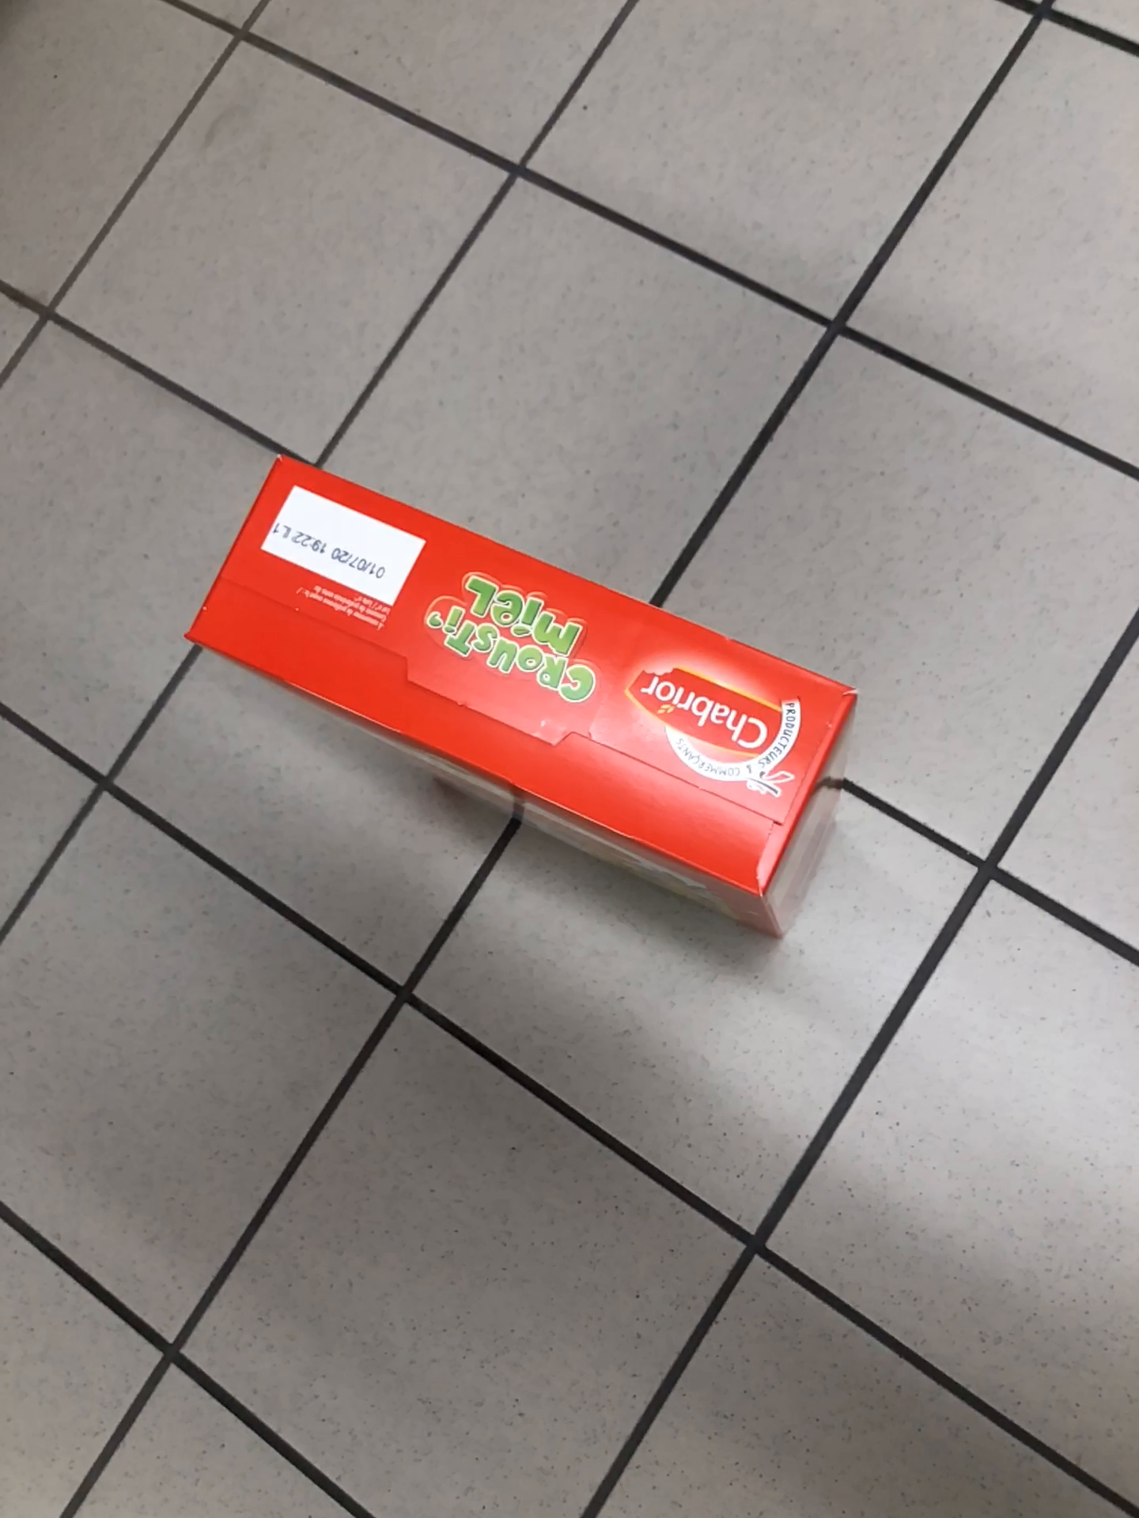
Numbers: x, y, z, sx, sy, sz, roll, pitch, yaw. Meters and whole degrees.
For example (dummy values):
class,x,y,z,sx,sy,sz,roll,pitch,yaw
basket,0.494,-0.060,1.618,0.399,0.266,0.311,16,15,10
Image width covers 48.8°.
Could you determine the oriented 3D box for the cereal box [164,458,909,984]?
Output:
class,x,y,z,sx,sy,sz,roll,pitch,yaw
cereal box,0.009,0.007,0.477,0.200,0.270,0.070,24,84,14
